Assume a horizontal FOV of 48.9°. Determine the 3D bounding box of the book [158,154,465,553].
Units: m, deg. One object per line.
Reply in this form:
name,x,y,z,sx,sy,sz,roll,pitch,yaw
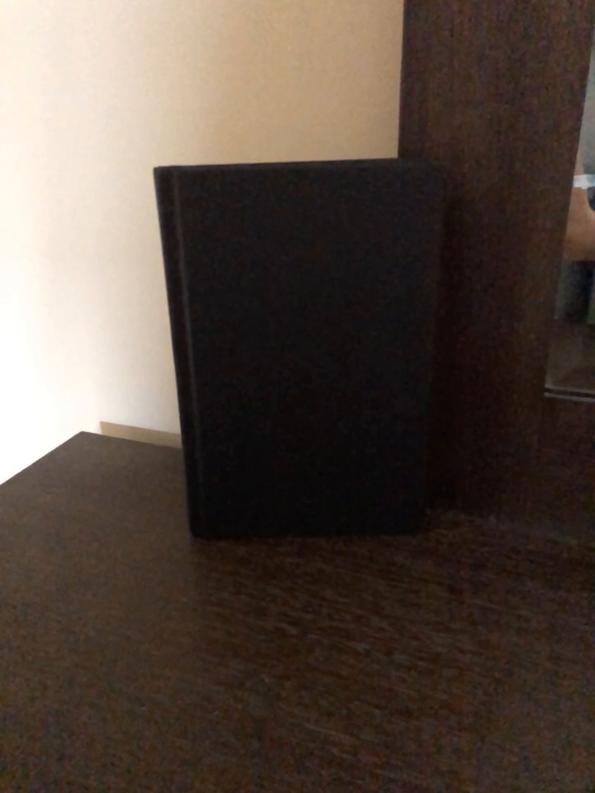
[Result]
book,0.010,-0.015,0.377,0.150,0.229,0.028,-1,23,1
